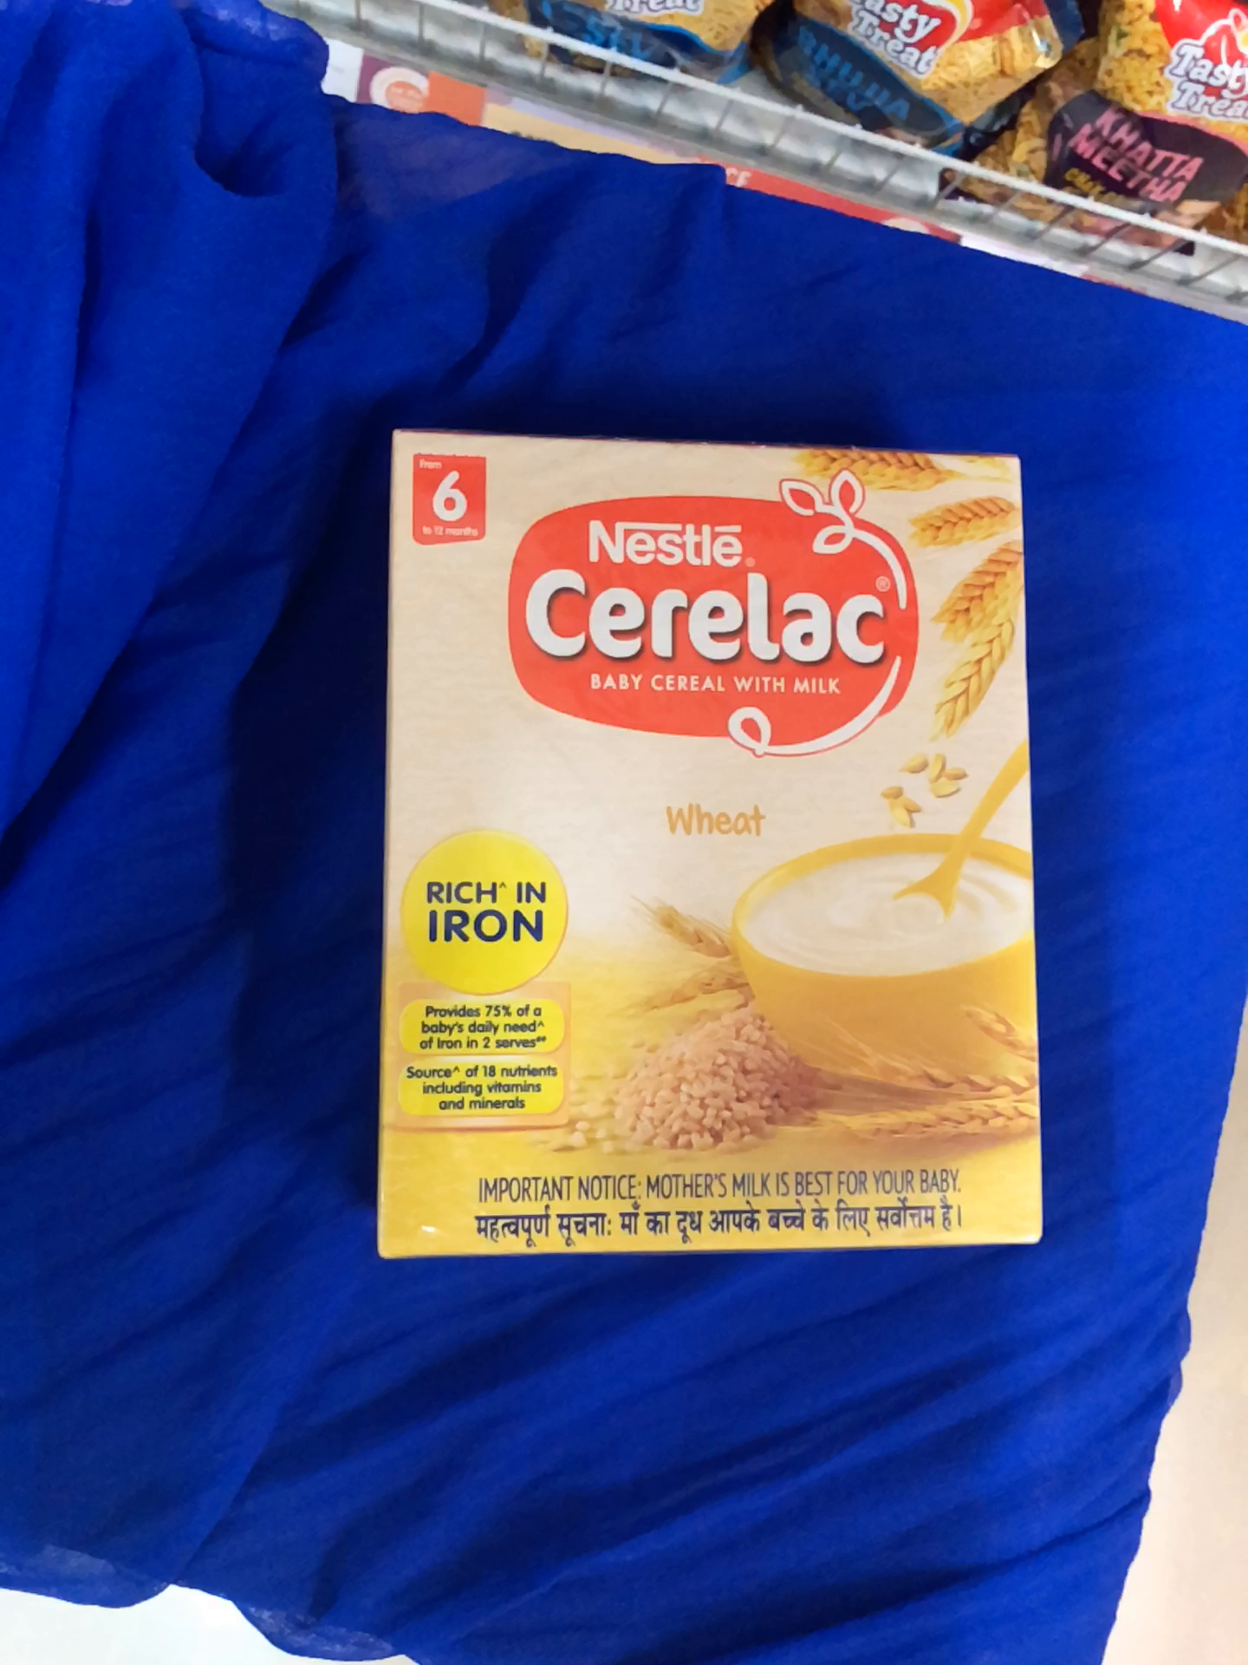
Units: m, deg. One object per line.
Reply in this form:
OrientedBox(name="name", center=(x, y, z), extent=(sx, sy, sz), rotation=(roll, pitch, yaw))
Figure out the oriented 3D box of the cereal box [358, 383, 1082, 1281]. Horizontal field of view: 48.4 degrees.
OrientedBox(name="cereal box", center=(0.019, 0.001, 0.336), extent=(0.160, 0.060, 0.190), rotation=(1, 85, -10))
